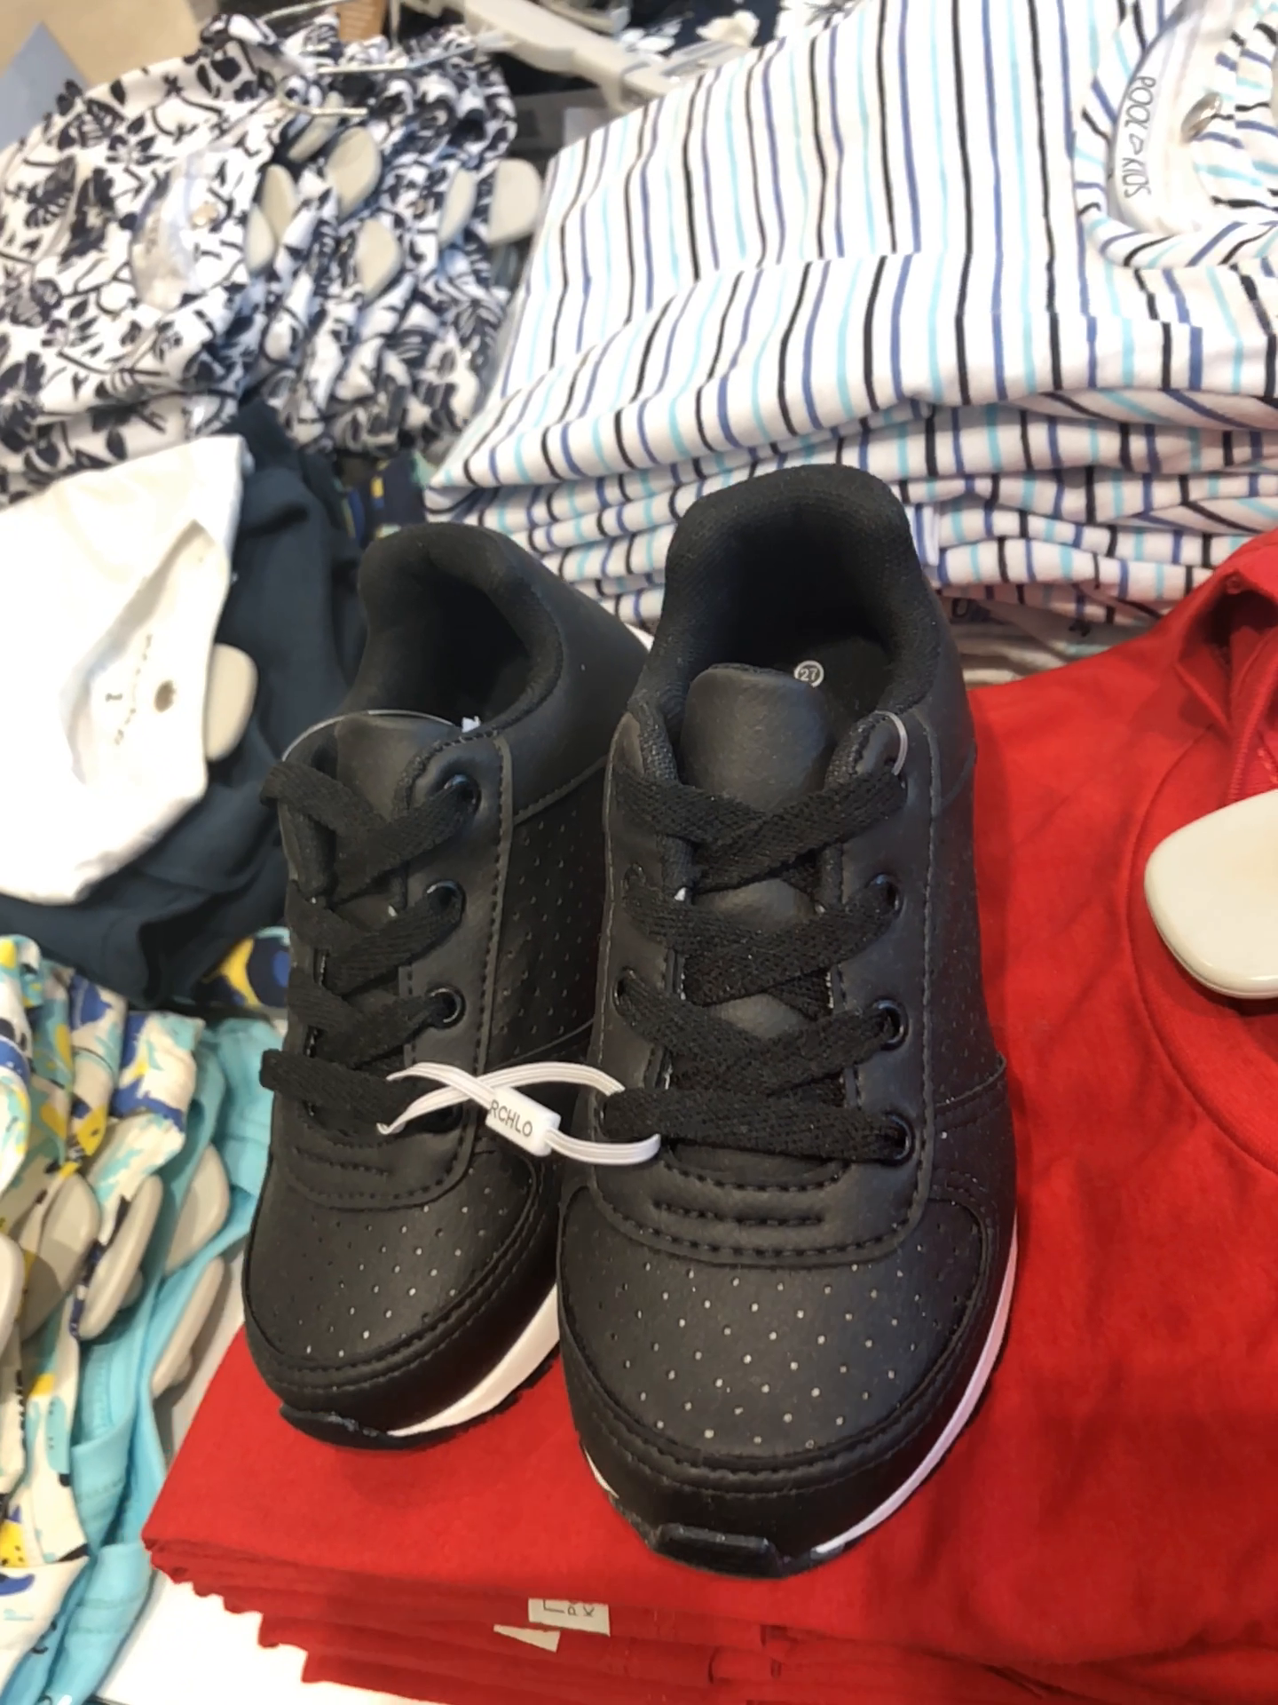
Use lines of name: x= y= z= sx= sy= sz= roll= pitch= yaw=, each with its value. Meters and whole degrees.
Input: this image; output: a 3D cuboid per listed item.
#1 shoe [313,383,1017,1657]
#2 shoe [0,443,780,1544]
shoe: x=0.023 y=0.021 z=0.246 sx=0.080 sy=0.086 sz=0.191 roll=0 pitch=57 yaw=16
shoe: x=-0.035 y=0.021 z=0.270 sx=0.080 sy=0.080 sz=0.181 roll=2 pitch=62 yaw=21
